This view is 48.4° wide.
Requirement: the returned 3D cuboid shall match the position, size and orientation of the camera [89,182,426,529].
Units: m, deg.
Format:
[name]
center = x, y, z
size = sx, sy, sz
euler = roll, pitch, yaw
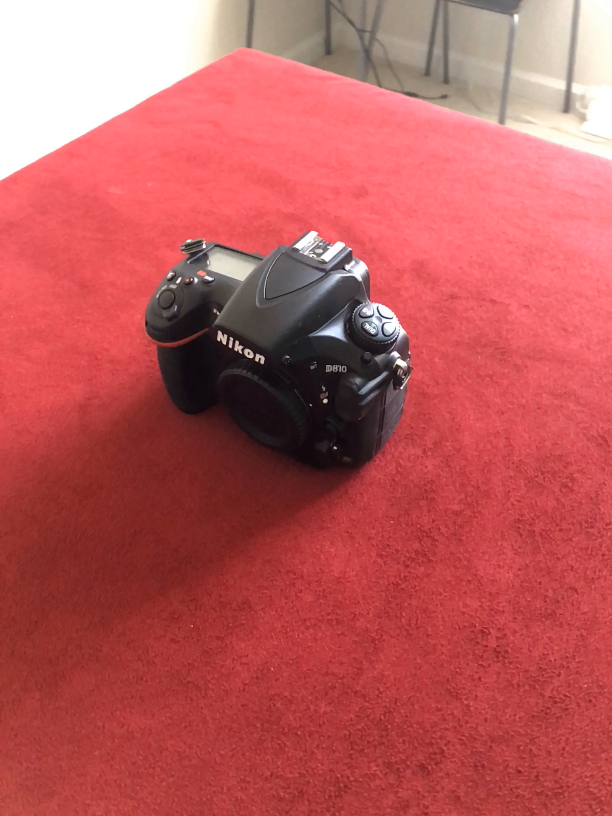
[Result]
[camera]
center = -0.023, -0.030, 0.384
size = 0.146, 0.129, 0.083
euler = 26, 55, 23
